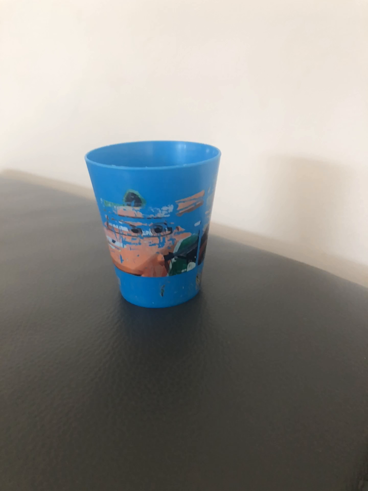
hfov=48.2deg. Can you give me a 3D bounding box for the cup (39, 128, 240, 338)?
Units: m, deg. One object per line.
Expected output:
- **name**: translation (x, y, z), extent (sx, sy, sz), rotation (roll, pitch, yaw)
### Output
- **cup**: translation (-0.023, -0.016, 0.251), extent (0.080, 0.090, 0.080), rotation (-1, 25, 0)
